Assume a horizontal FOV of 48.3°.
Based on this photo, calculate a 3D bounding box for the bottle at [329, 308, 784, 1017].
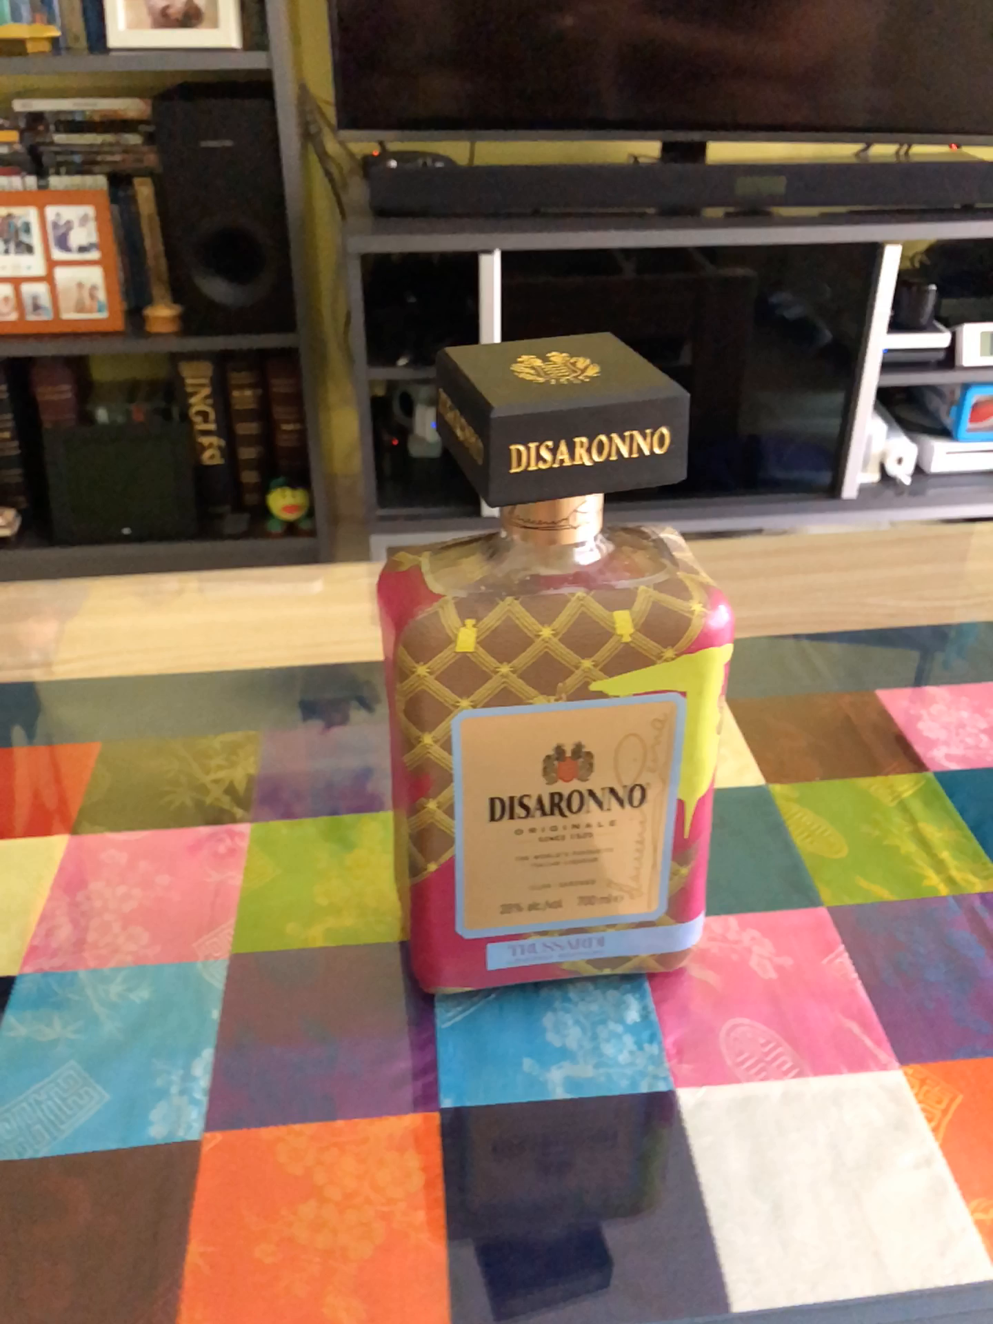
[{"bbox_3d":[0.013,0.007,0.384,0.120,0.229,0.080,-4,32,-6],"label":"bottle"}]
